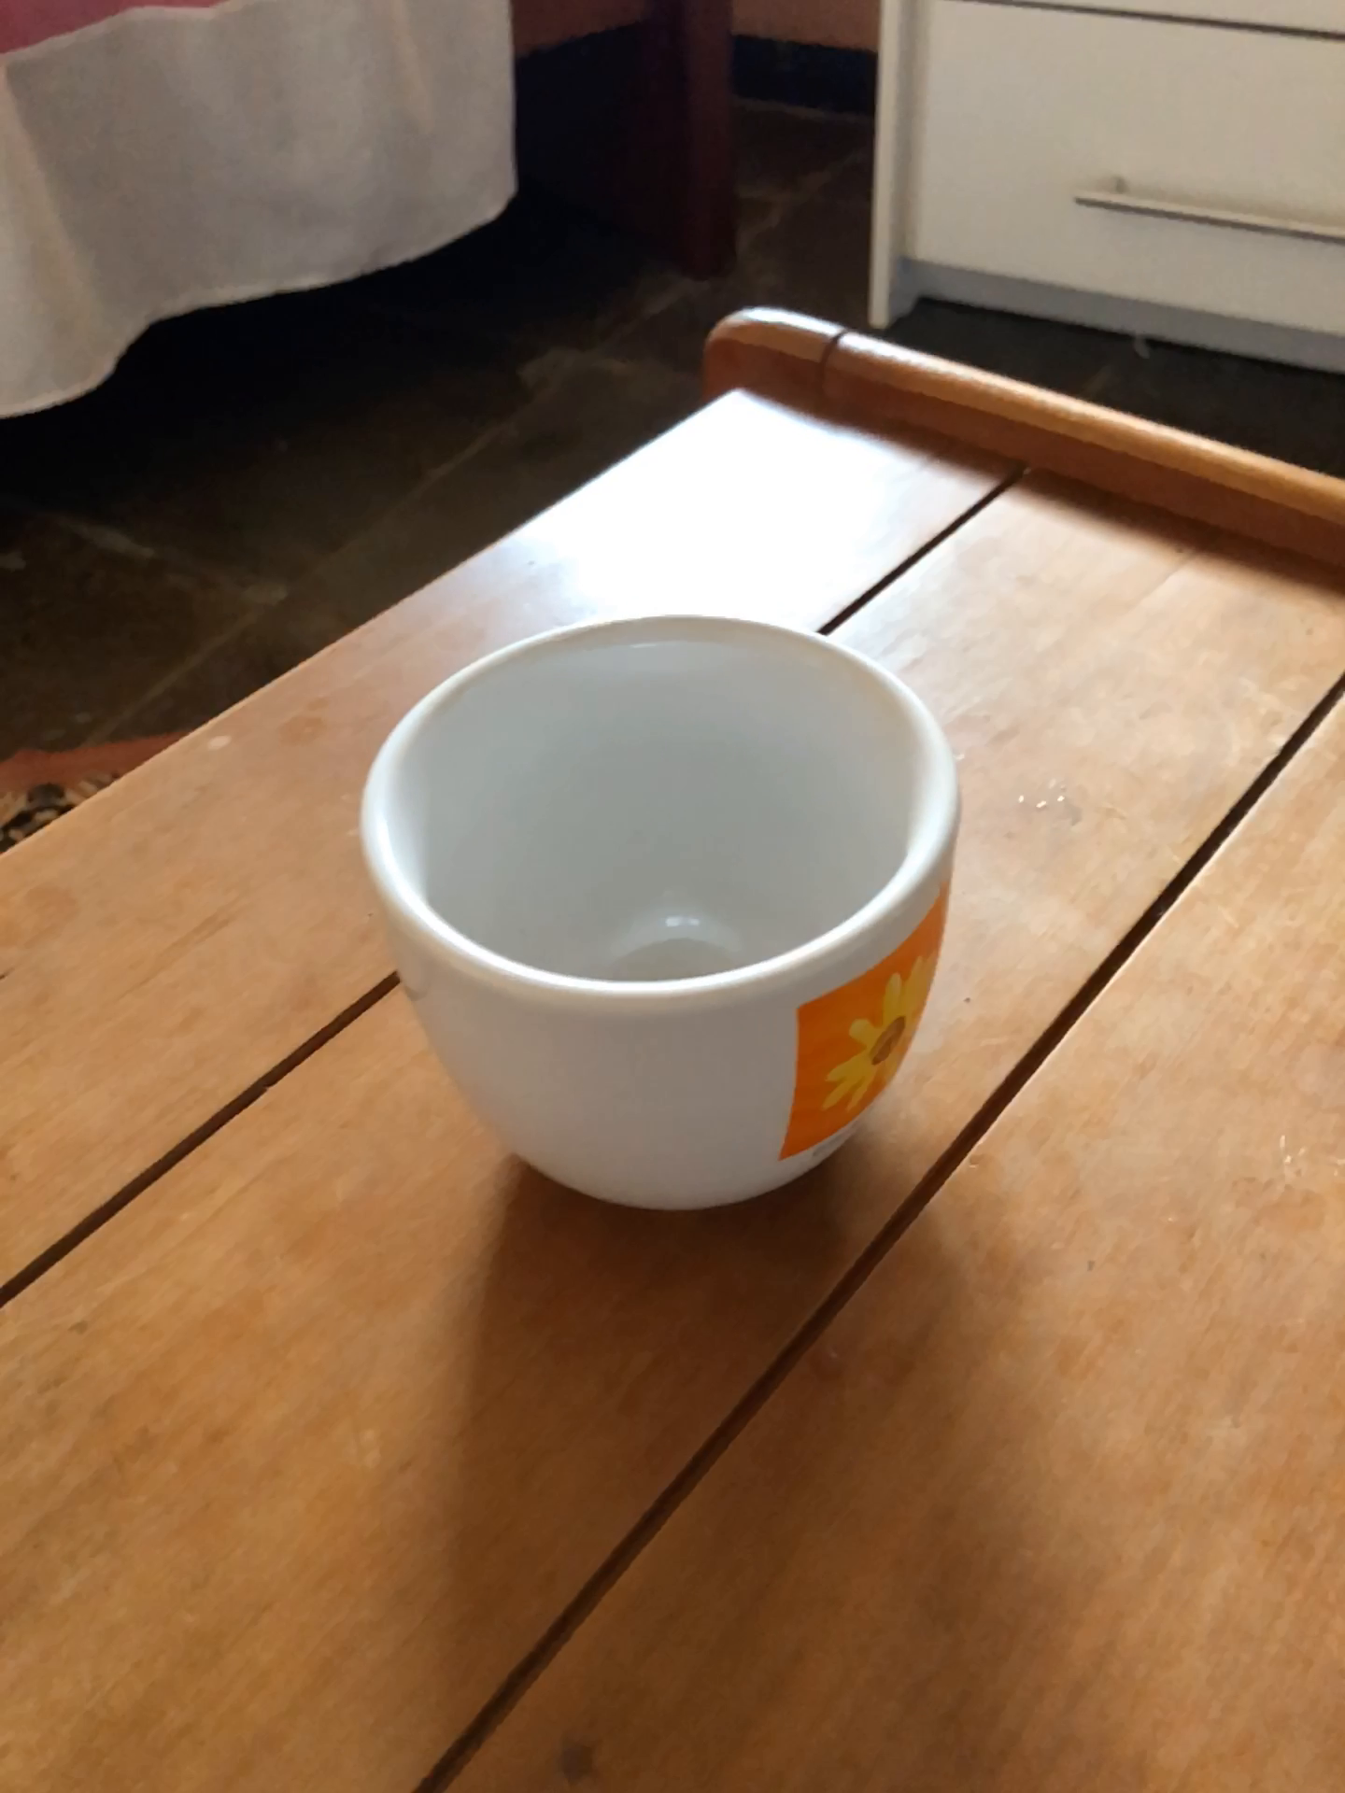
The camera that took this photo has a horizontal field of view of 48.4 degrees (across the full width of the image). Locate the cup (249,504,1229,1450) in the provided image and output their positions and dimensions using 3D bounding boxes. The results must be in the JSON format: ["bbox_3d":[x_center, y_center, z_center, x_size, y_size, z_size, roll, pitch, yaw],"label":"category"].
[{"bbox_3d":[0.014,0.003,0.231,0.090,0.060,0.111,27,52,27],"label":"cup"}]
